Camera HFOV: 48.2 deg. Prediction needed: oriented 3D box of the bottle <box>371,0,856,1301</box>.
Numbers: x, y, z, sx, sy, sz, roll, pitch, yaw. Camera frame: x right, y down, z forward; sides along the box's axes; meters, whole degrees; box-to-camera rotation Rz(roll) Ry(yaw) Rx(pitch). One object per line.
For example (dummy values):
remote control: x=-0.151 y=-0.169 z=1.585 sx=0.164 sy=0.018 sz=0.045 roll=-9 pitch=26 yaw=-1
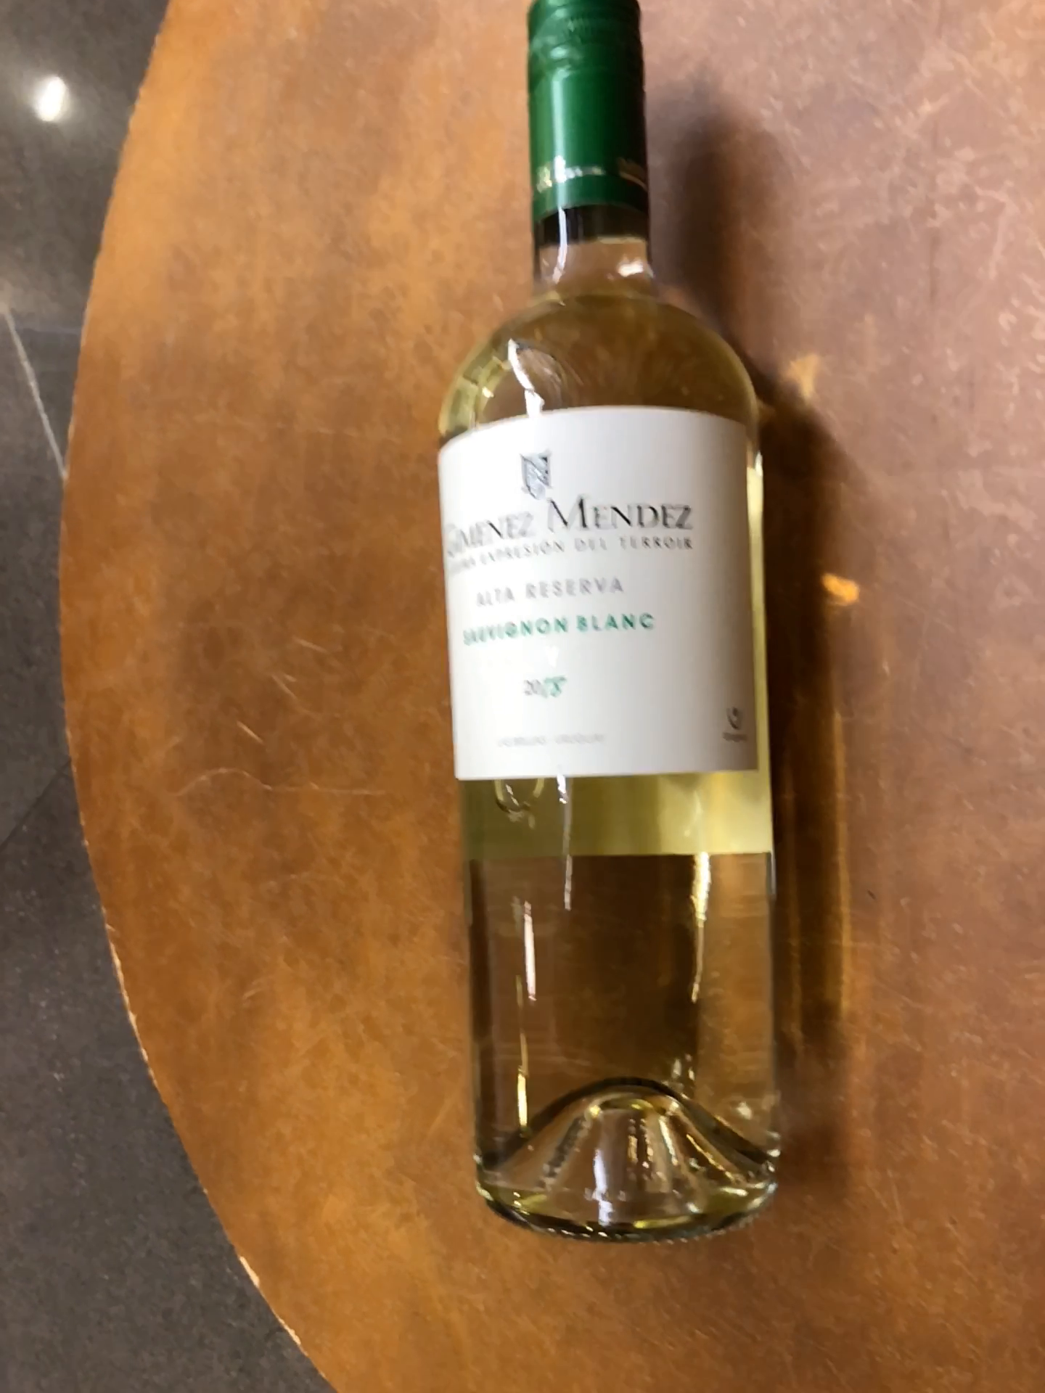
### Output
bottle: x=0.016 y=-0.034 z=0.275 sx=0.090 sy=0.050 sz=0.300 roll=-7 pitch=83 yaw=41
